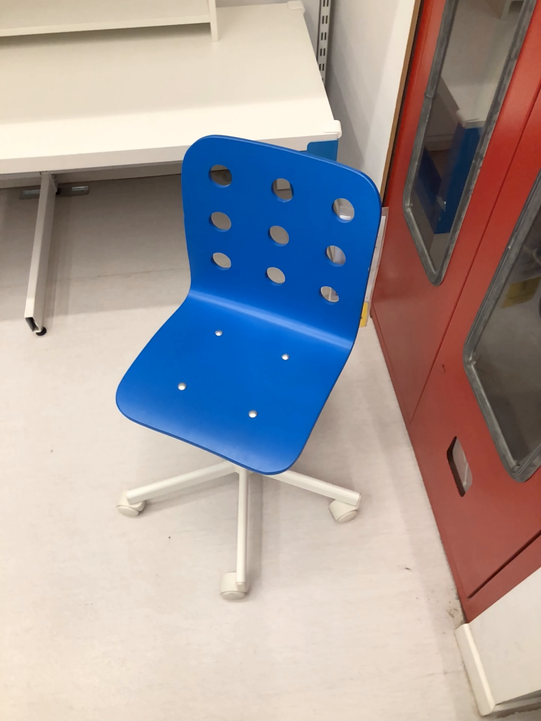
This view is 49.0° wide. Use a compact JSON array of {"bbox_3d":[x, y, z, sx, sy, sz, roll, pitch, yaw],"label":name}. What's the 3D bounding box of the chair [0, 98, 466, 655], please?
[{"bbox_3d":[-0.088,0.067,0.994,0.551,0.686,0.492,18,57,13],"label":"chair"}]
